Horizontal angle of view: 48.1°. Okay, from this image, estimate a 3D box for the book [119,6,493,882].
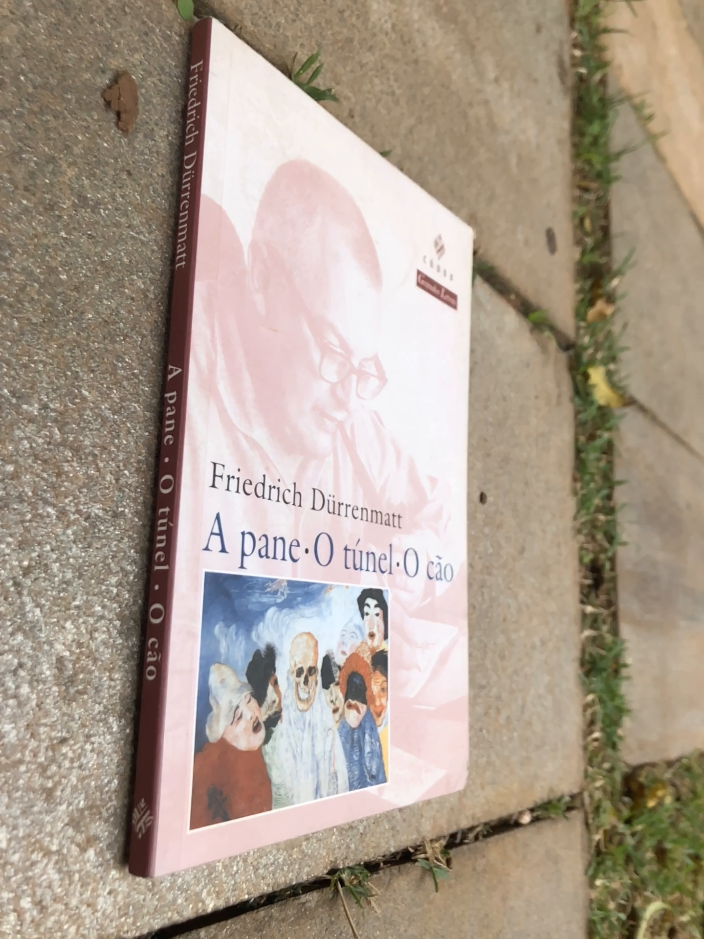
[{"bbox_3d":[0.003,-0.003,0.234,0.141,0.015,0.199,17,72,-52],"label":"book"}]
